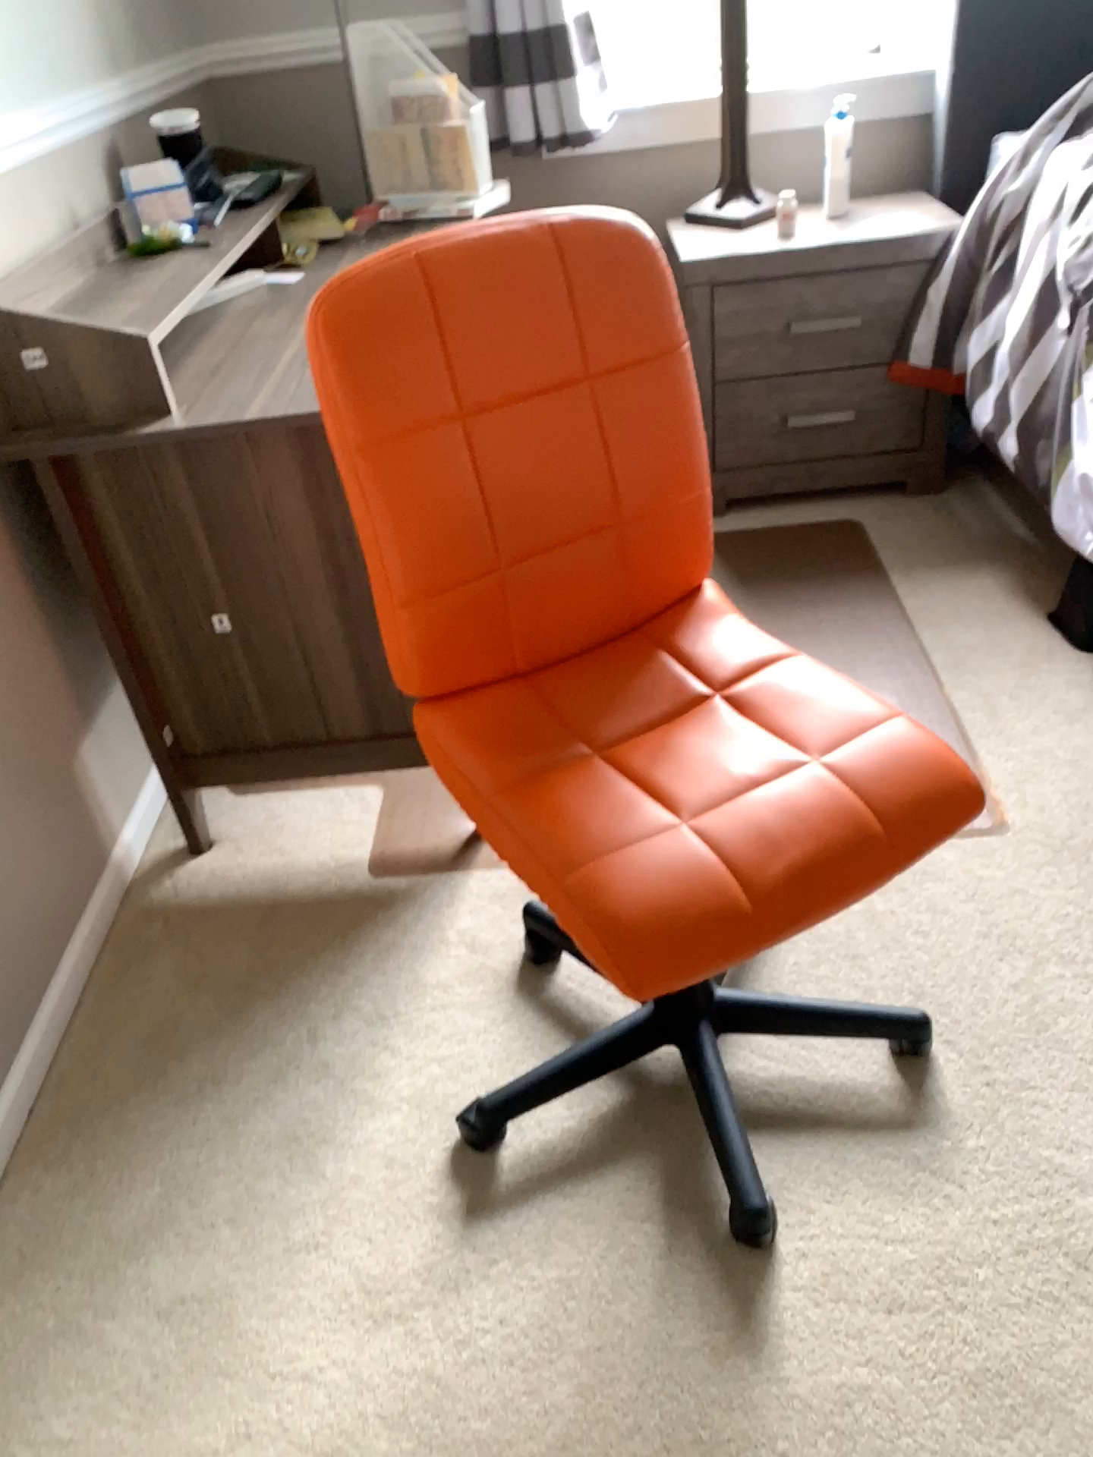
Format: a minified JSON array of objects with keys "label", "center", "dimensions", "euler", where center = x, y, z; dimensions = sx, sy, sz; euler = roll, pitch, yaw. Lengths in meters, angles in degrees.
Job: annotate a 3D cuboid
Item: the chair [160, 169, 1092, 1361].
[{"label":"chair","center":[0.113,-0.008,1.176],"dimensions":[0.615,0.901,0.620],"euler":[-24,38,-22]}]
